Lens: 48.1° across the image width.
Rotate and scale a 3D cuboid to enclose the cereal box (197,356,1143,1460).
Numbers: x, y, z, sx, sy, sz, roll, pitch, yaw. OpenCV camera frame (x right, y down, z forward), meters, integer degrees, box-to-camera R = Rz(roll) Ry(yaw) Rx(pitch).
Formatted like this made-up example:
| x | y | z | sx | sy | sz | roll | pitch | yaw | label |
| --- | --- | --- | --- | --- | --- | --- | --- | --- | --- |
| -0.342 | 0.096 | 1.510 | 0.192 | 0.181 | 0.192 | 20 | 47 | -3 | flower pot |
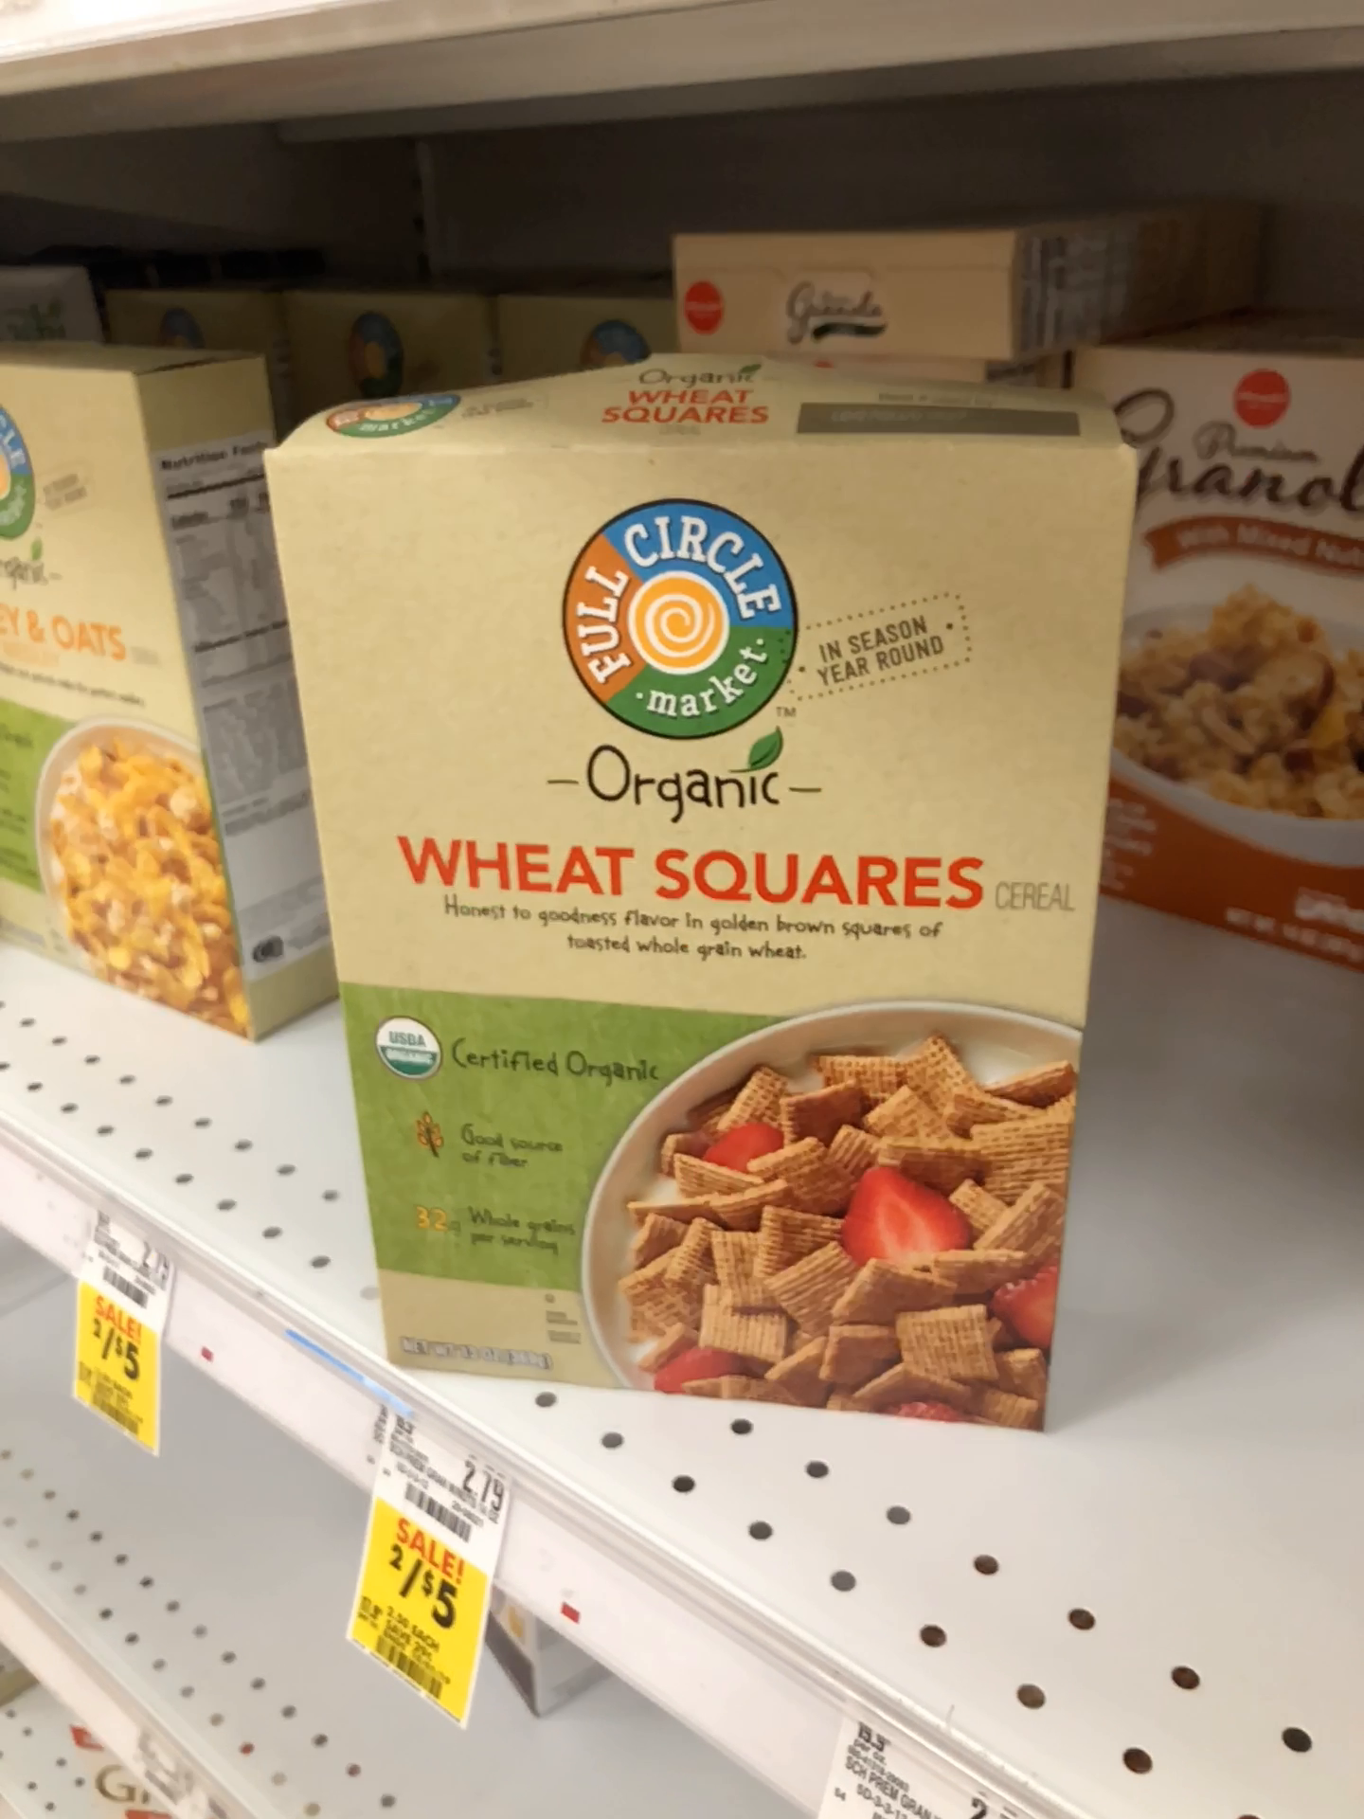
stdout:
| x | y | z | sx | sy | sz | roll | pitch | yaw | label |
| --- | --- | --- | --- | --- | --- | --- | --- | --- | --- |
| 0.004 | 0.010 | 0.398 | 0.200 | 0.279 | 0.050 | 2 | 26 | 11 | cereal box |
